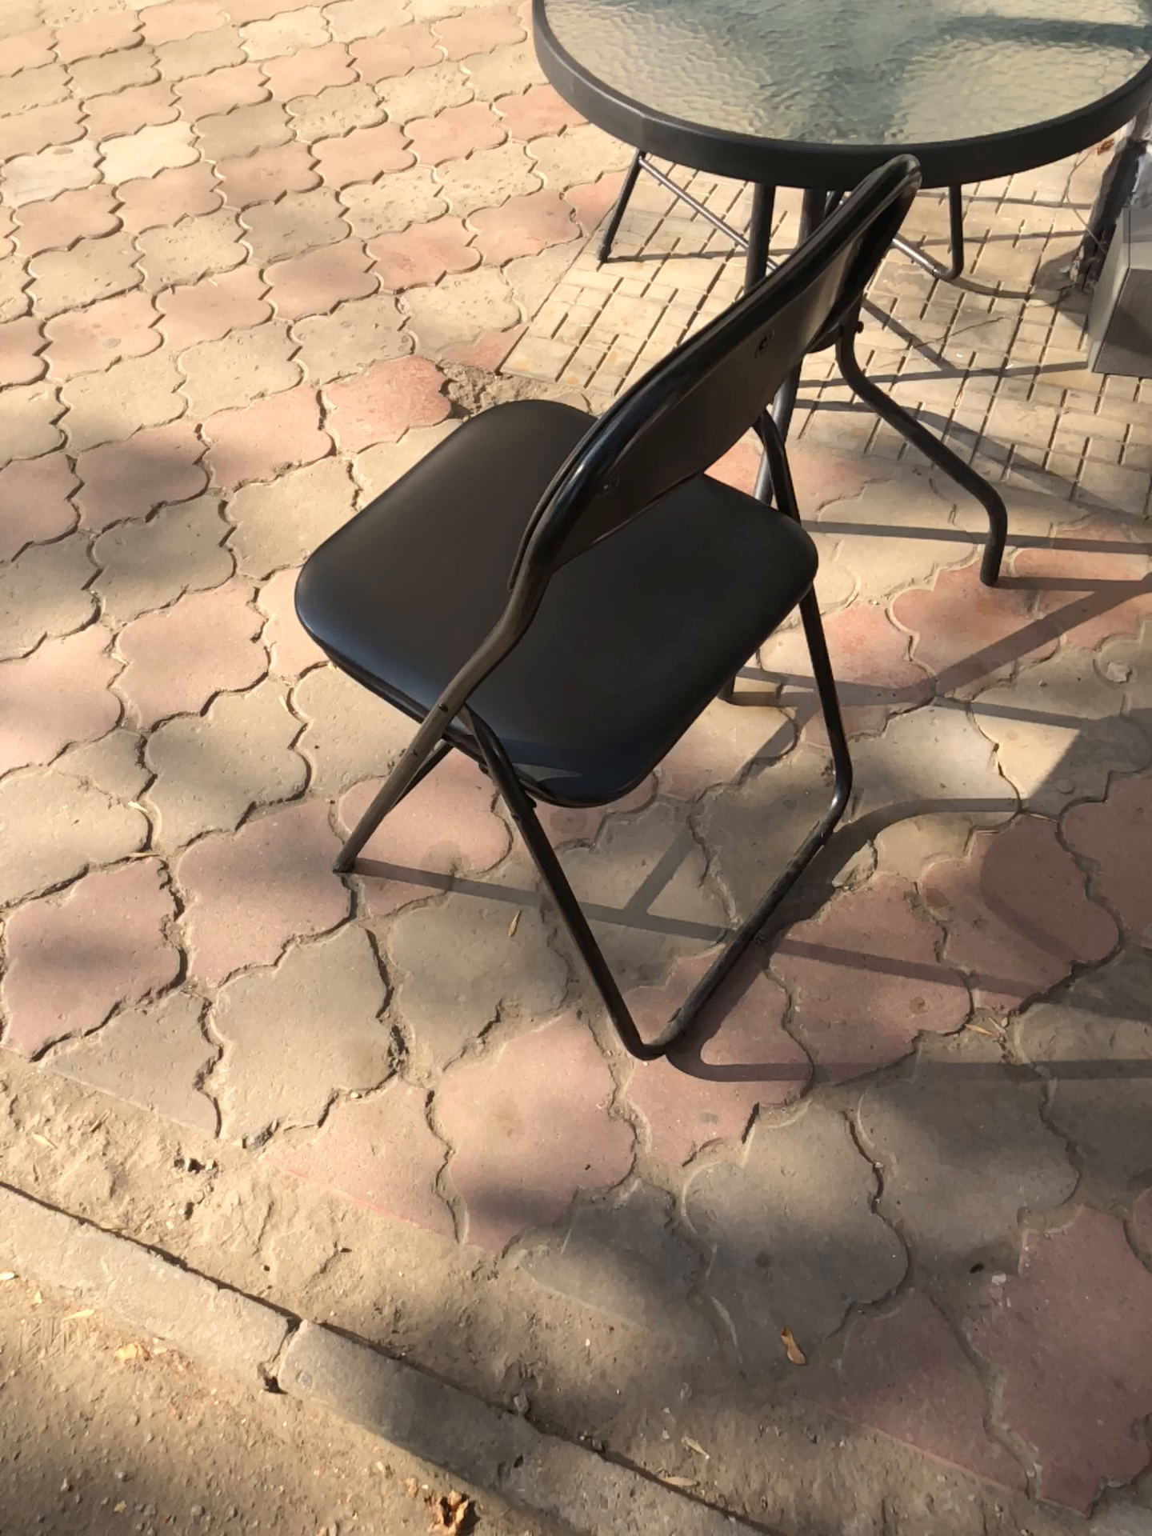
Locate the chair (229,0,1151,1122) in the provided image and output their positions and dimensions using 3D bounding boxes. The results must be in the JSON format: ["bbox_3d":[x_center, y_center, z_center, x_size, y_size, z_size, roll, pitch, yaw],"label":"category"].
[{"bbox_3d":[0.130,-0.200,1.311,0.571,0.837,0.581,31,55,23],"label":"chair"}]
